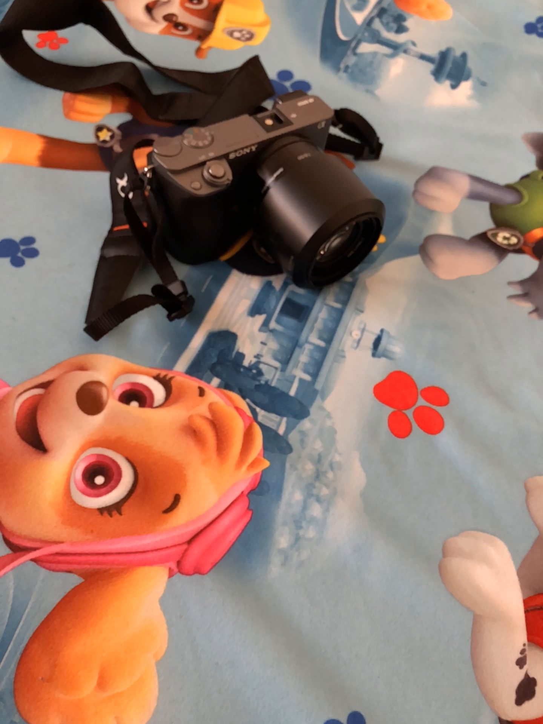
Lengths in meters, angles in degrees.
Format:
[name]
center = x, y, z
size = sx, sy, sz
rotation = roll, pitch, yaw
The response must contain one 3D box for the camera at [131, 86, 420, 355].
[camera]
center = -0.001, -0.094, 0.387
size = 0.130, 0.080, 0.110
rotation = -28, 65, -24
